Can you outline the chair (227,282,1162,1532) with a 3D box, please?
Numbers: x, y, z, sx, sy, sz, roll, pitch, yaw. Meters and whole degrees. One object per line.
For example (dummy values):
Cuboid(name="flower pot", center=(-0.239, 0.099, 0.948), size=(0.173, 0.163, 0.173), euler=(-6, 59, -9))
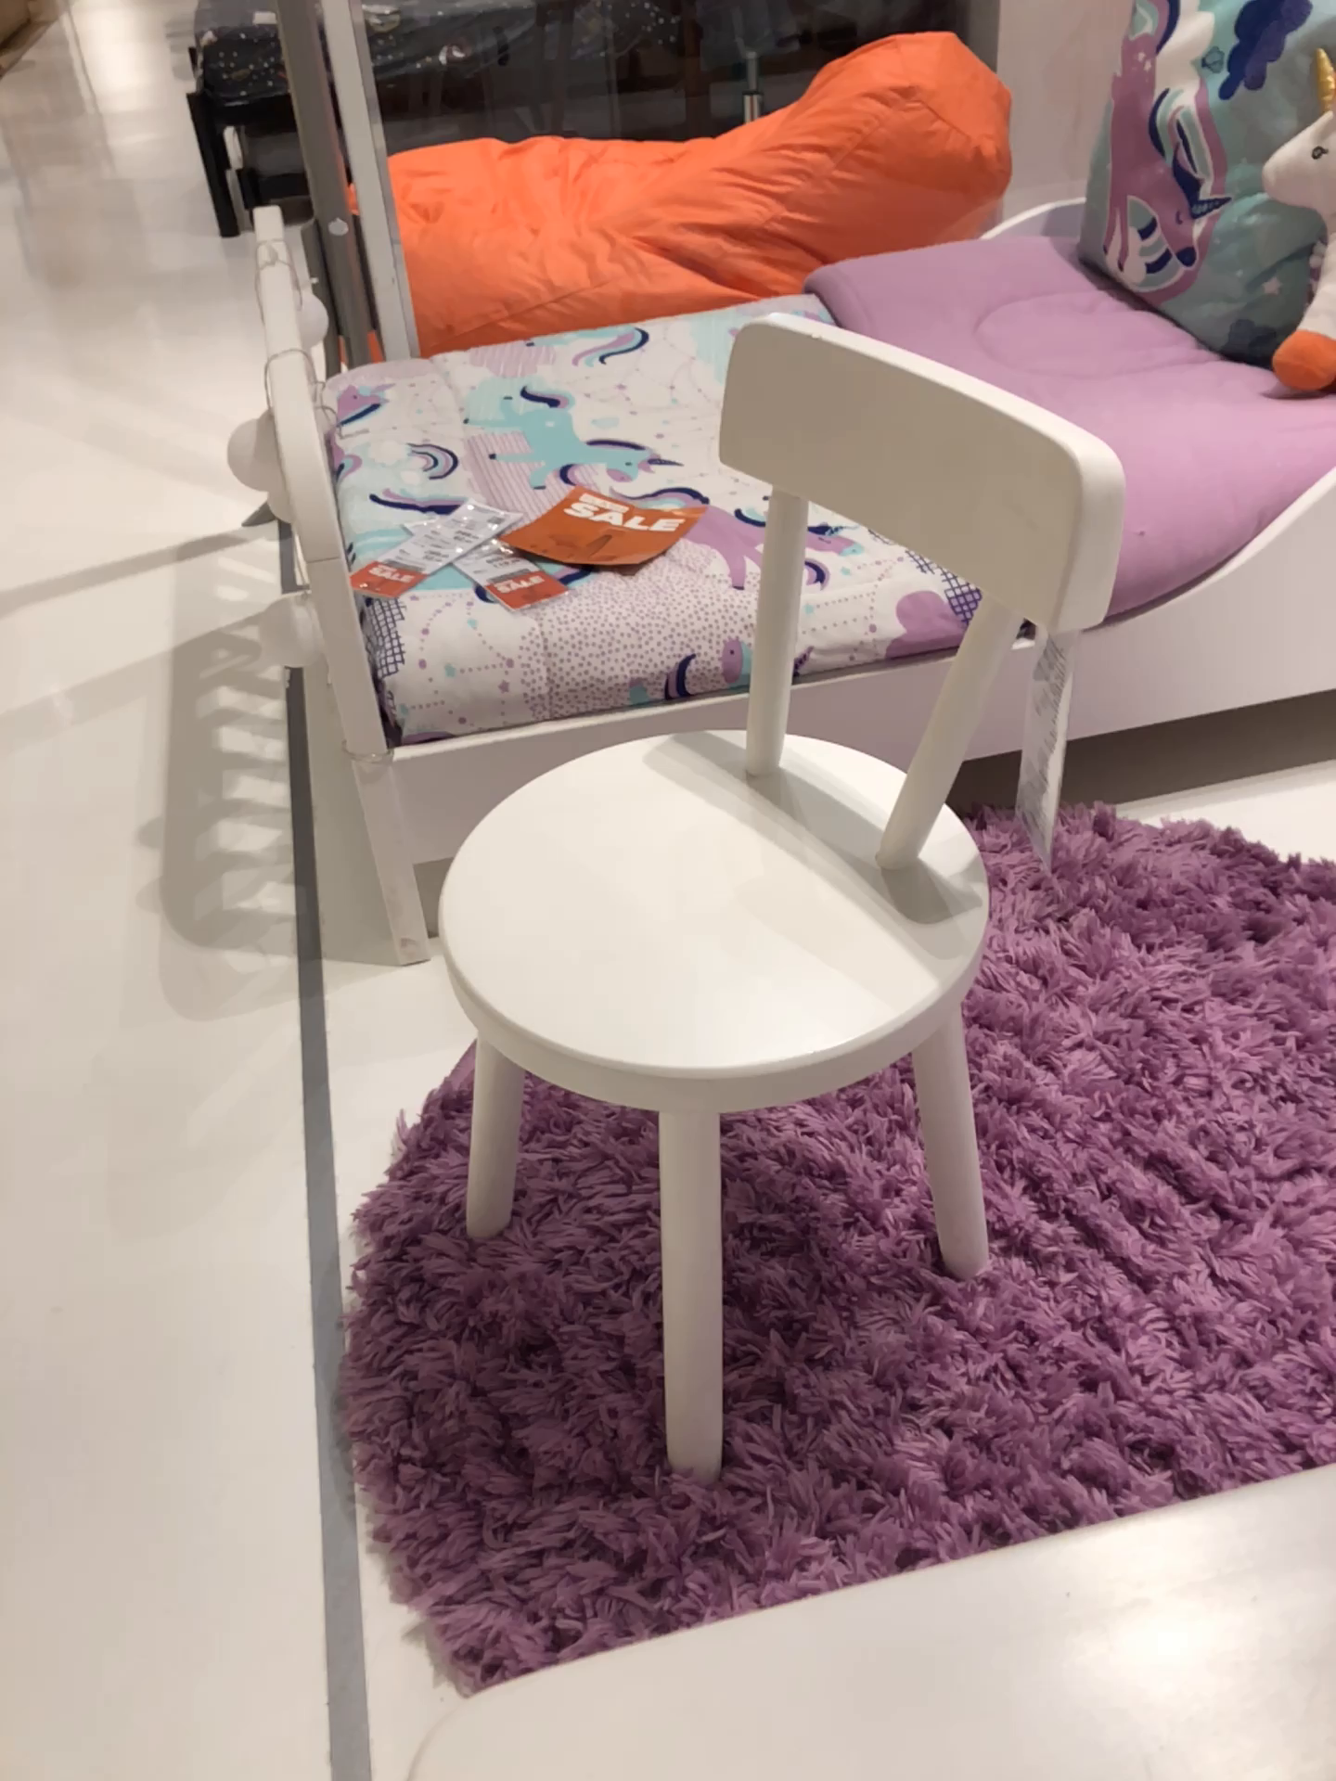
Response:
Cuboid(name="chair", center=(0.020, 0.007, 0.858), size=(0.311, 0.575, 0.322), euler=(-26, 41, -26))
